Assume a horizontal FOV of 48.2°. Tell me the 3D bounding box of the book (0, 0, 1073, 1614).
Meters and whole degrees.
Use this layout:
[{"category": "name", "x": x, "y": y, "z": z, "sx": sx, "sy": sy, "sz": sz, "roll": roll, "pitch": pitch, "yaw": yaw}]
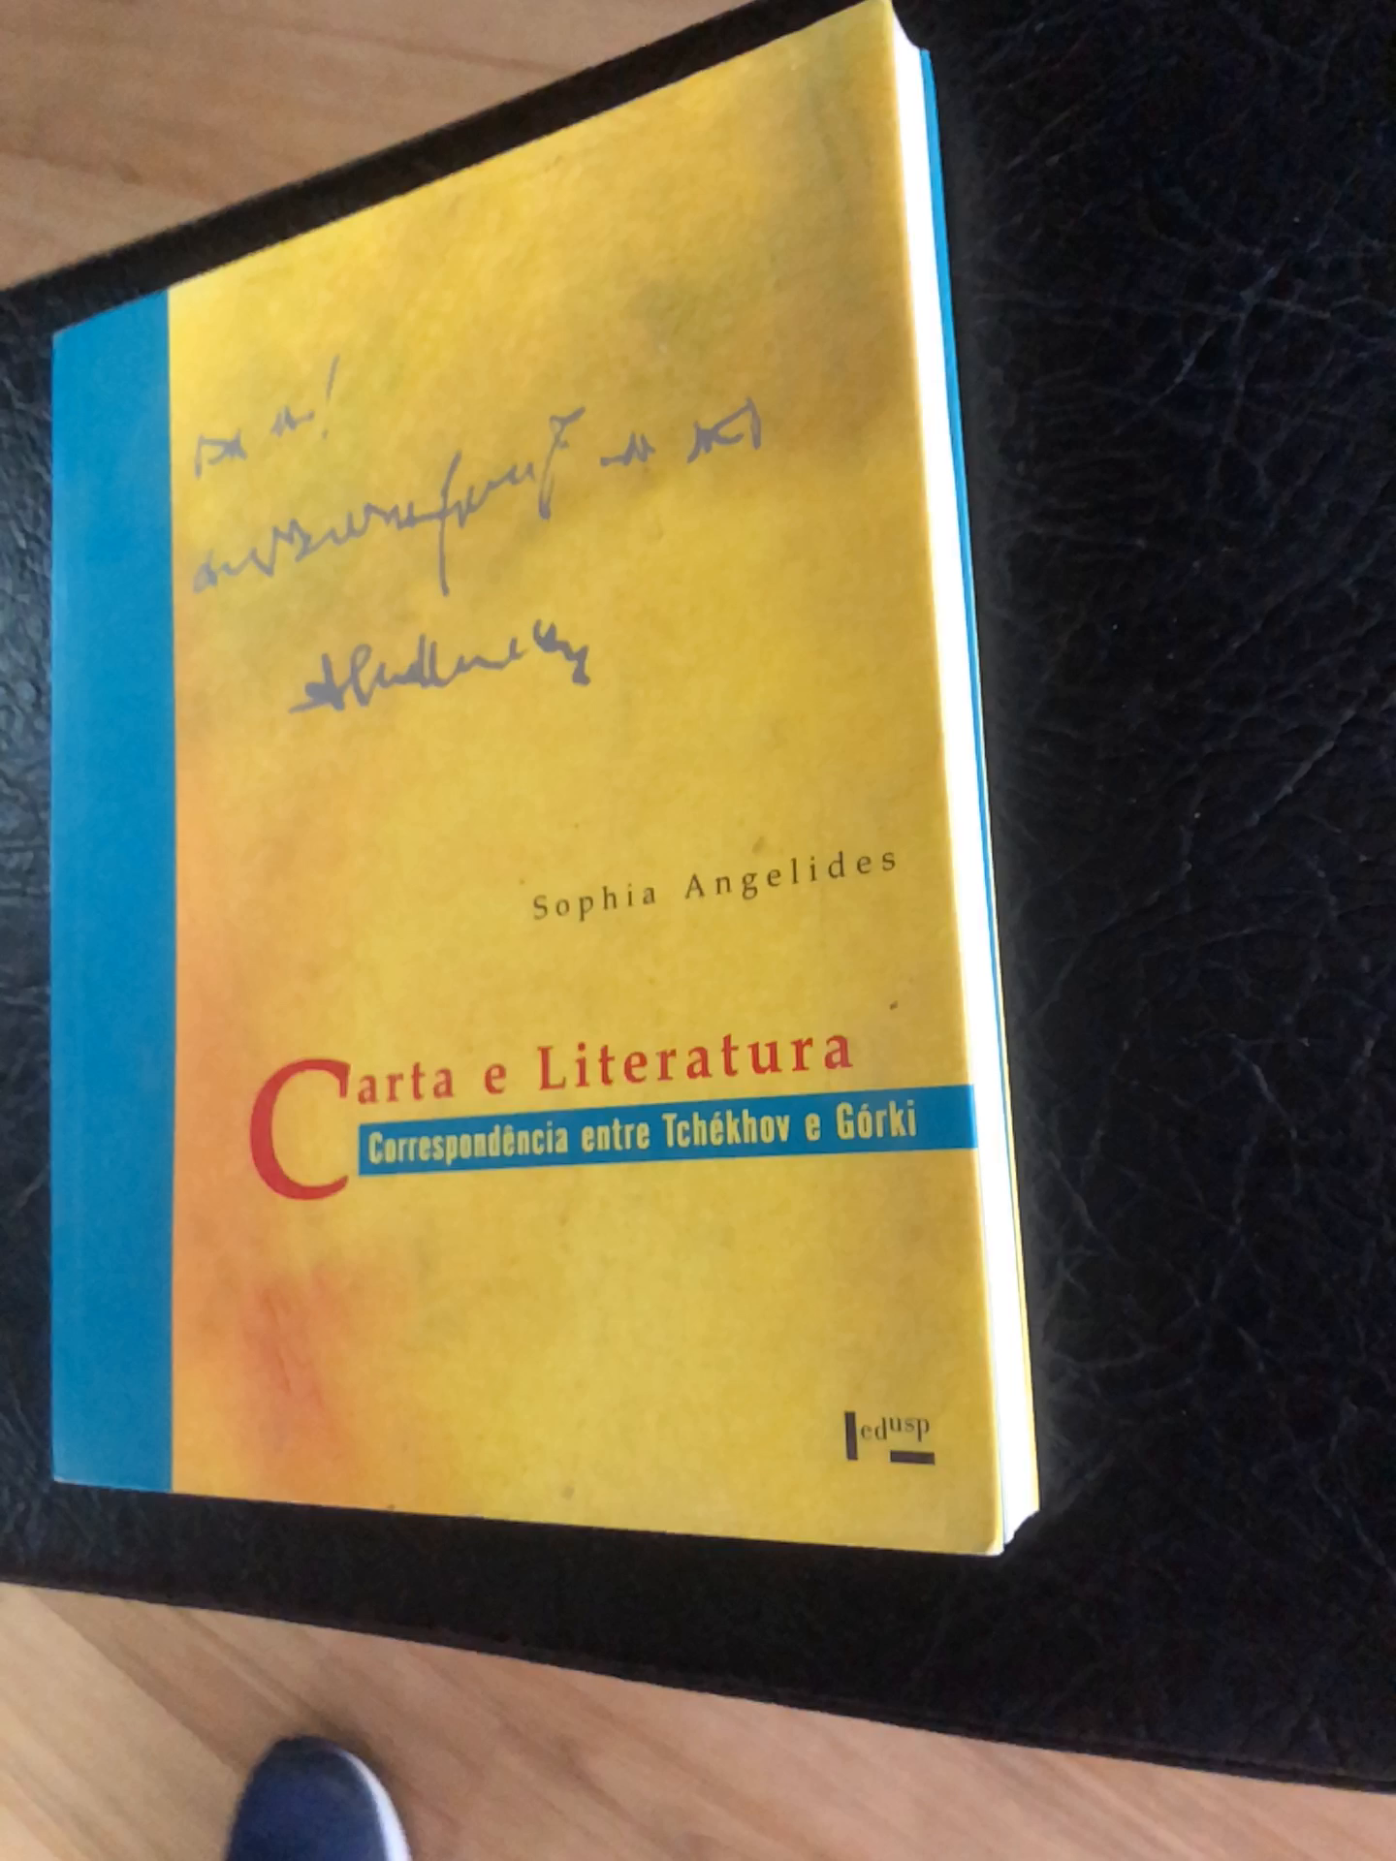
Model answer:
[{"category": "book", "x": -0.039, "y": -0.016, "z": 0.240, "sx": 0.173, "sy": 0.024, "sz": 0.208, "roll": -7, "pitch": 82, "yaw": 28}]
